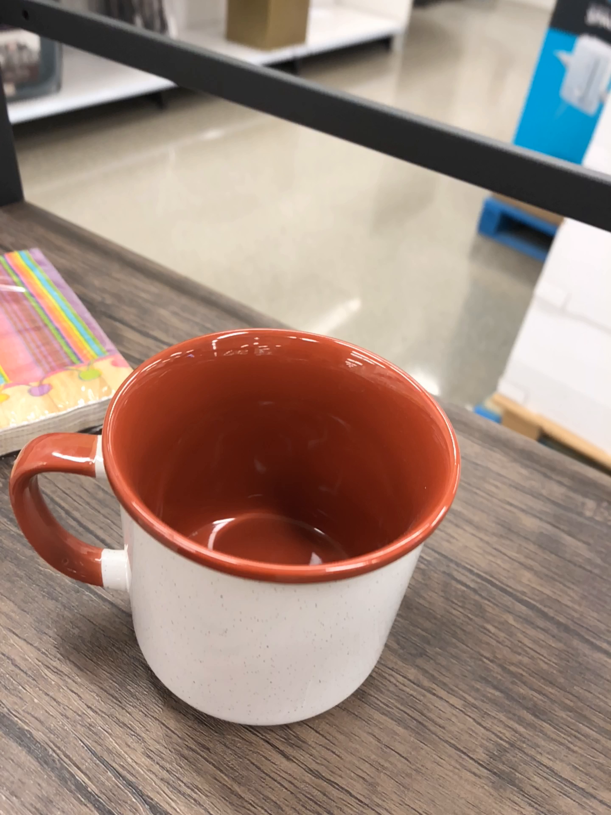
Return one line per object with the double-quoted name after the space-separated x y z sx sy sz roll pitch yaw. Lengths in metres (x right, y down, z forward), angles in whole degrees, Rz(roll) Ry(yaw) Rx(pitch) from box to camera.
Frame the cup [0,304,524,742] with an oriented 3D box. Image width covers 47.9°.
-0.026 0.038 0.237 0.150 0.090 0.110 3 41 -5 "cup"
